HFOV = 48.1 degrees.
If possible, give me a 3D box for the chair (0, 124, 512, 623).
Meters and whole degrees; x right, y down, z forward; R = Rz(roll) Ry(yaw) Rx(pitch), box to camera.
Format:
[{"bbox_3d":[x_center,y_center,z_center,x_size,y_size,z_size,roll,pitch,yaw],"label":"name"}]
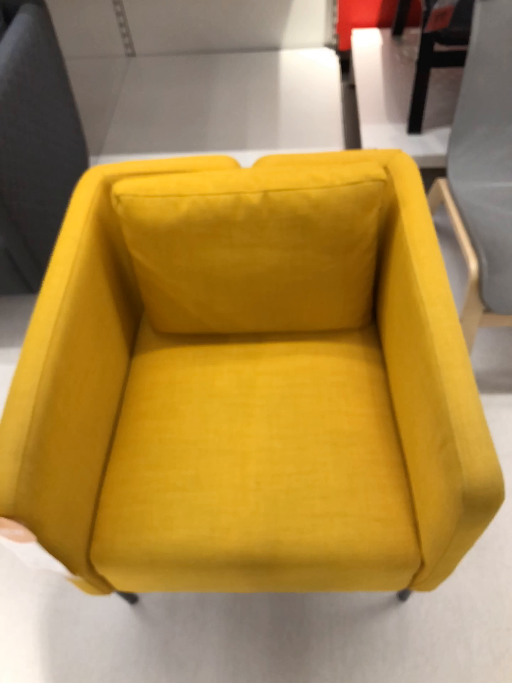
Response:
[{"bbox_3d":[0.011,0.110,1.092,0.720,0.696,0.663,-2,55,3],"label":"chair"}]
